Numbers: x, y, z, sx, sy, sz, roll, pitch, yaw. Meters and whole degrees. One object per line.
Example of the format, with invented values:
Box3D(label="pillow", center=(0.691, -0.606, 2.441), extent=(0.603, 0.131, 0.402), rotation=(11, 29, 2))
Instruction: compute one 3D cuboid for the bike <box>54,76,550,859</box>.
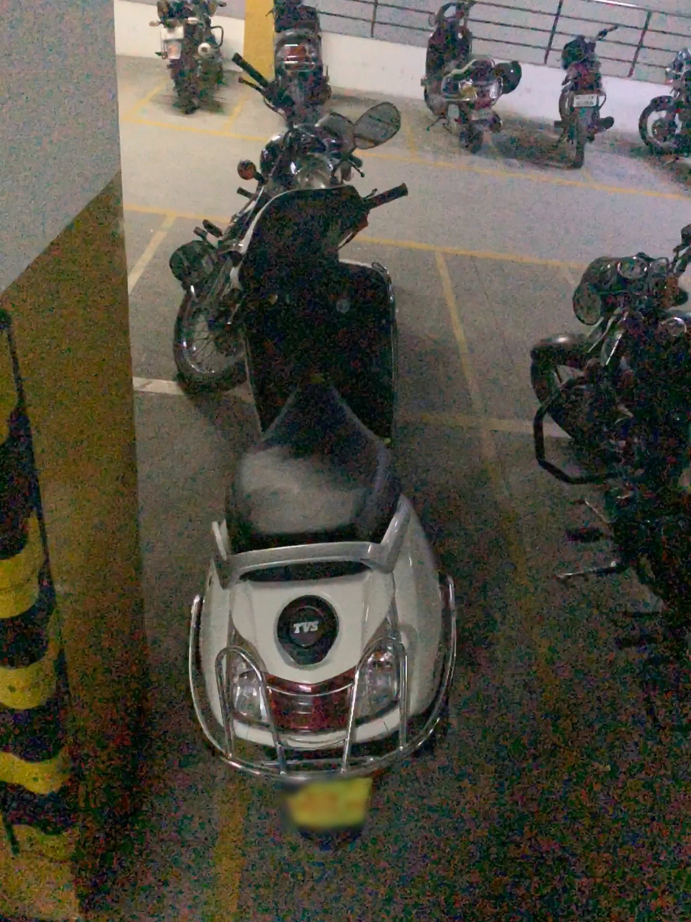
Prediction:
Box3D(label="bike", center=(-0.147, -0.091, 1.826), extent=(0.647, 1.159, 1.538), rotation=(5, 40, -6))
